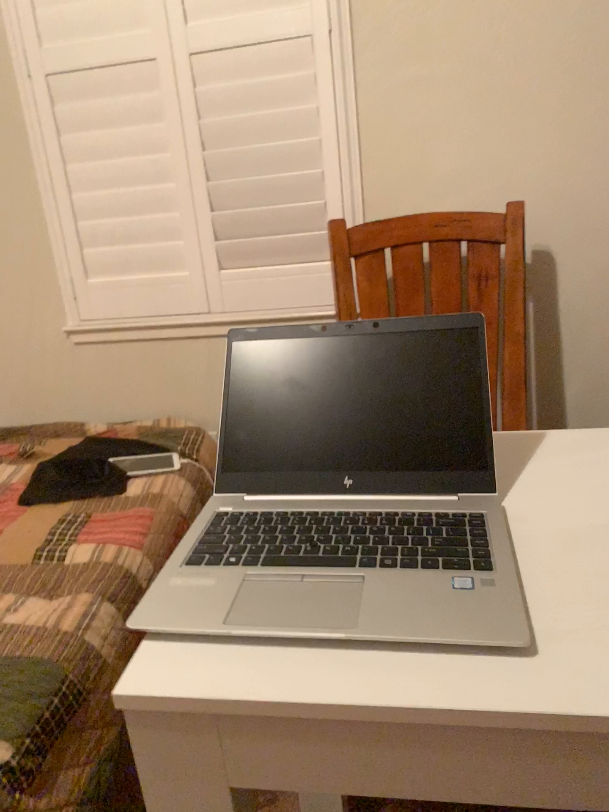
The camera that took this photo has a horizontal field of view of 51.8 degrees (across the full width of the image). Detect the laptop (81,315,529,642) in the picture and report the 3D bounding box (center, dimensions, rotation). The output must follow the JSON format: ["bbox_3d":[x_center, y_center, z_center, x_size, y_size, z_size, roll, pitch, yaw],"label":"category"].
[{"bbox_3d":[0.031,0.035,0.618,0.310,0.159,0.366,-2,19,11],"label":"laptop"}]
